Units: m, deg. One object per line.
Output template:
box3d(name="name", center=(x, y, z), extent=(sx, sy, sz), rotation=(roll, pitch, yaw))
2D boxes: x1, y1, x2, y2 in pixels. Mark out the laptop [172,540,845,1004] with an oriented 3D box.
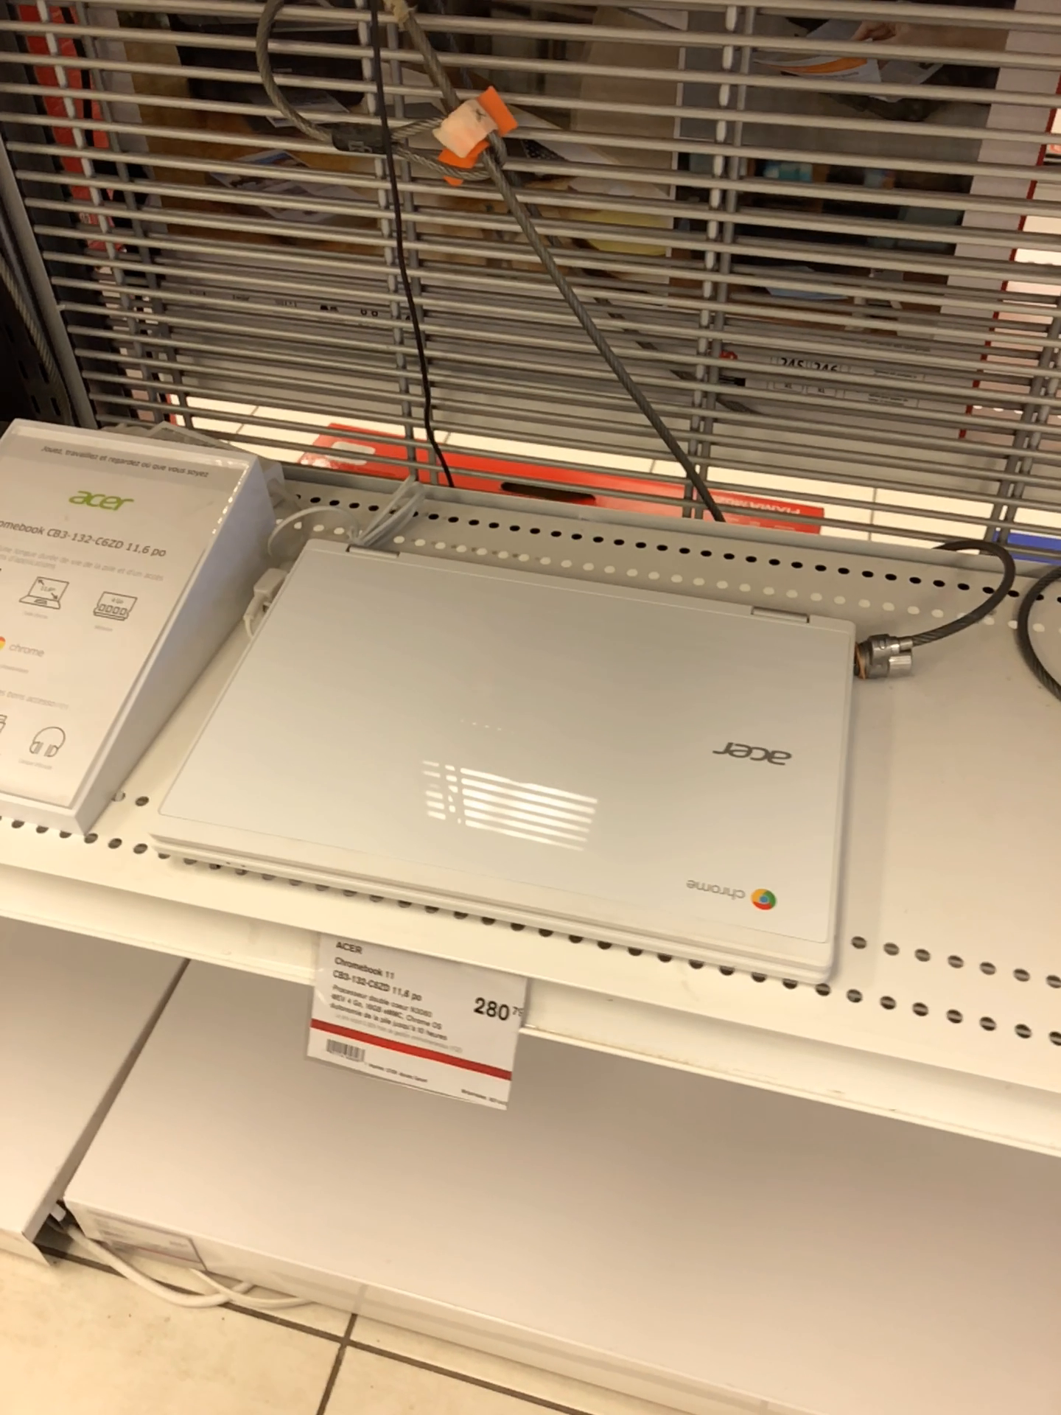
box3d(name="laptop", center=(-0.003, 0.017, 0.559), extent=(0.286, 0.024, 0.184), rotation=(10, 55, 11))
